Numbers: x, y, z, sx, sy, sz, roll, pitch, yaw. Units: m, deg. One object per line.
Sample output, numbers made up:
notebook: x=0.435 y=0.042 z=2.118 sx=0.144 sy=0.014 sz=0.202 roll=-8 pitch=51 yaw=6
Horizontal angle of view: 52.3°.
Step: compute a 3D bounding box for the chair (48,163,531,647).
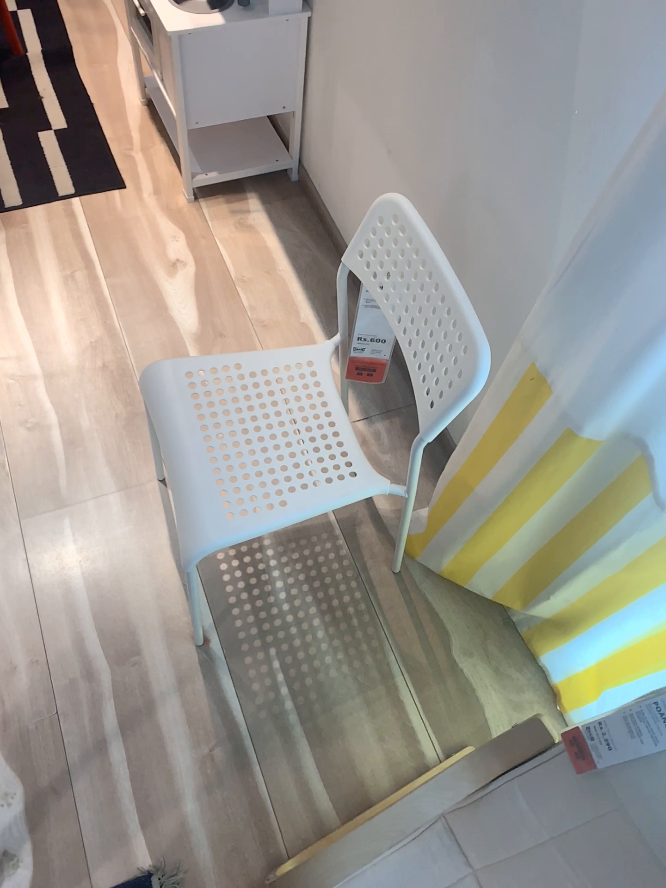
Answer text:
chair: x=-0.100 y=-0.027 z=1.185 sx=0.530 sy=0.659 sz=0.441 roll=-15 pitch=62 yaw=-15
